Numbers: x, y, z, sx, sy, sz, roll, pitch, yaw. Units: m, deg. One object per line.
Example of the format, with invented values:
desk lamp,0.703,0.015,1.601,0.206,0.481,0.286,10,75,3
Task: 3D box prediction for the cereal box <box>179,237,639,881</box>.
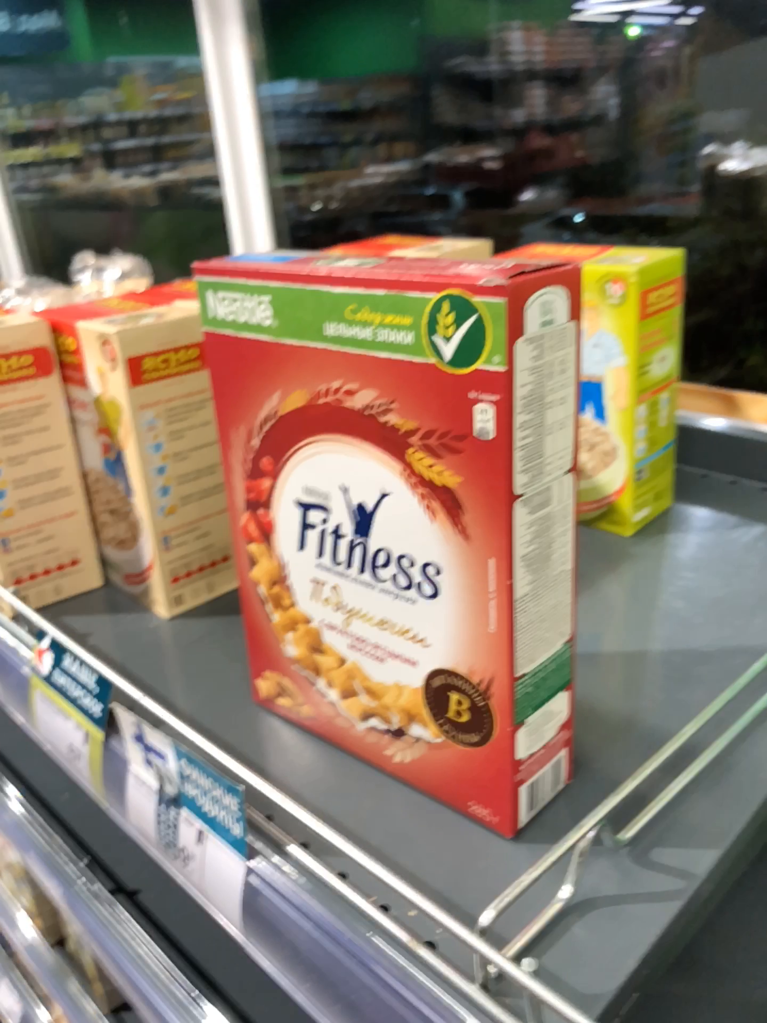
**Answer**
cereal box,0.007,0.009,0.390,0.190,0.249,0.060,16,29,39
